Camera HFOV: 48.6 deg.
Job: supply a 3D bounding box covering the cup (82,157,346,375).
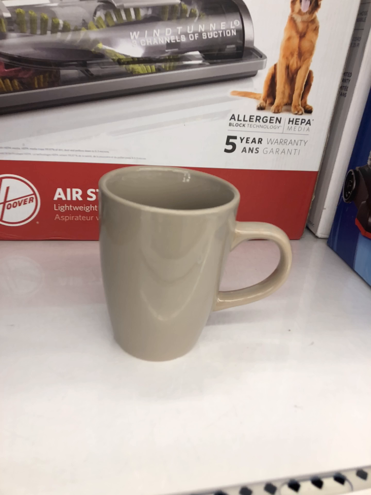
[{"bbox_3d":[0.009,0.008,0.251,0.125,0.092,0.088,4,27,-5],"label":"cup"}]
